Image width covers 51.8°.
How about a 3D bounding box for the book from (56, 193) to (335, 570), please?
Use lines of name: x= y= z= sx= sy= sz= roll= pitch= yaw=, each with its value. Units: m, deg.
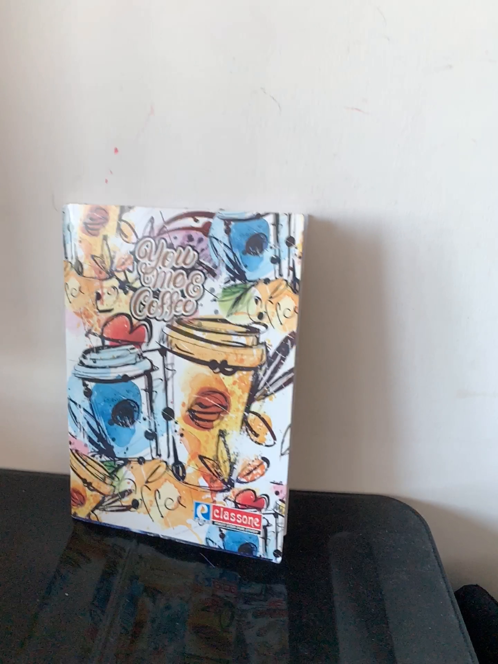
book: x=-0.053 y=0.040 z=0.451 sx=0.220 sy=0.299 sz=0.050 roll=7 pitch=13 yaw=11
